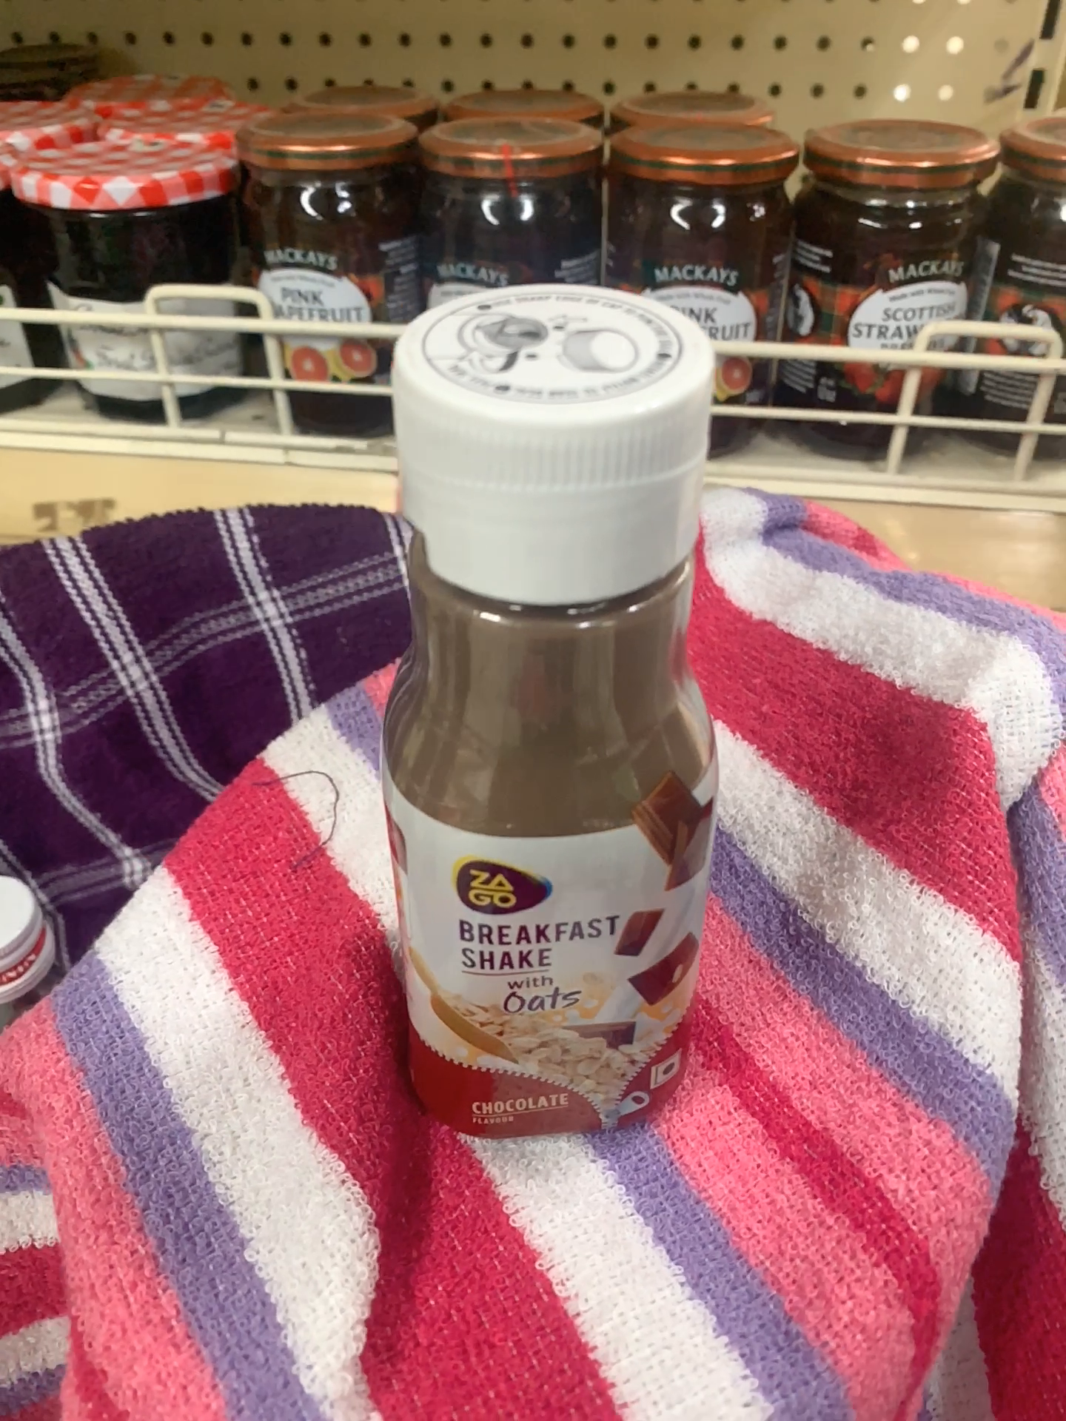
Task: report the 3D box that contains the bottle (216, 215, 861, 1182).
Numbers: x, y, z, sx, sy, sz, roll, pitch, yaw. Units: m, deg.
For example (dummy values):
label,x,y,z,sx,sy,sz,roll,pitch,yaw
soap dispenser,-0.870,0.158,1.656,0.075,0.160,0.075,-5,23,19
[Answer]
label,x,y,z,sx,sy,sz,roll,pitch,yaw
bottle,-0.001,0.008,0.166,0.060,0.139,0.050,-4,39,-4
